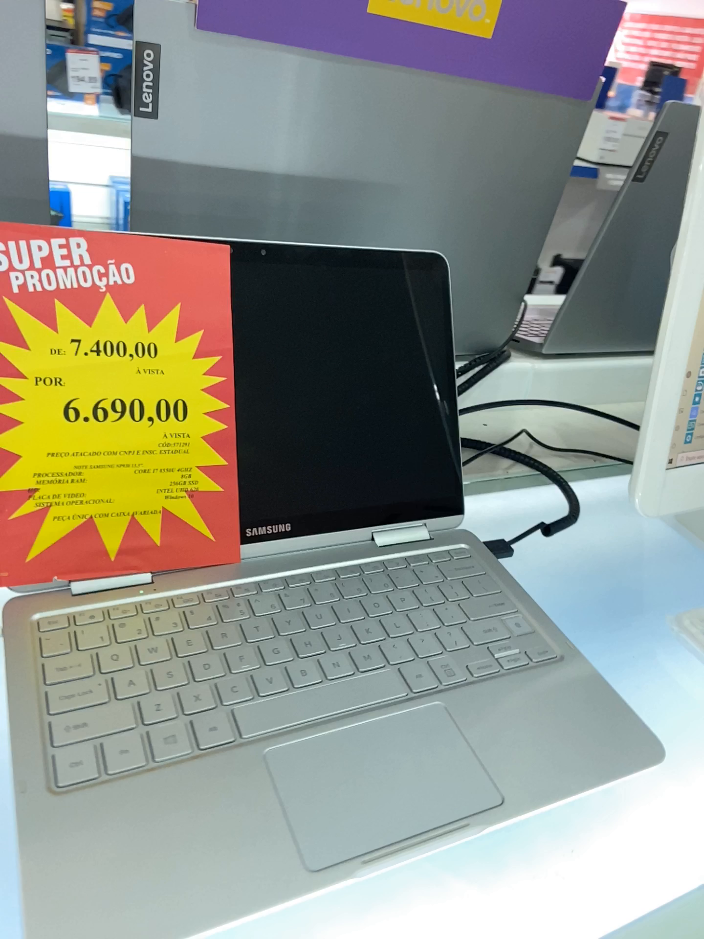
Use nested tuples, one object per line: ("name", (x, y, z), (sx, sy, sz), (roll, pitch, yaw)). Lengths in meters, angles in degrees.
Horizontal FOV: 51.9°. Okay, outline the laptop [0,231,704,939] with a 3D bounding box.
("laptop", (-0.019, 0.008, 0.391), (0.305, 0.170, 0.311), (-5, 33, -25))
